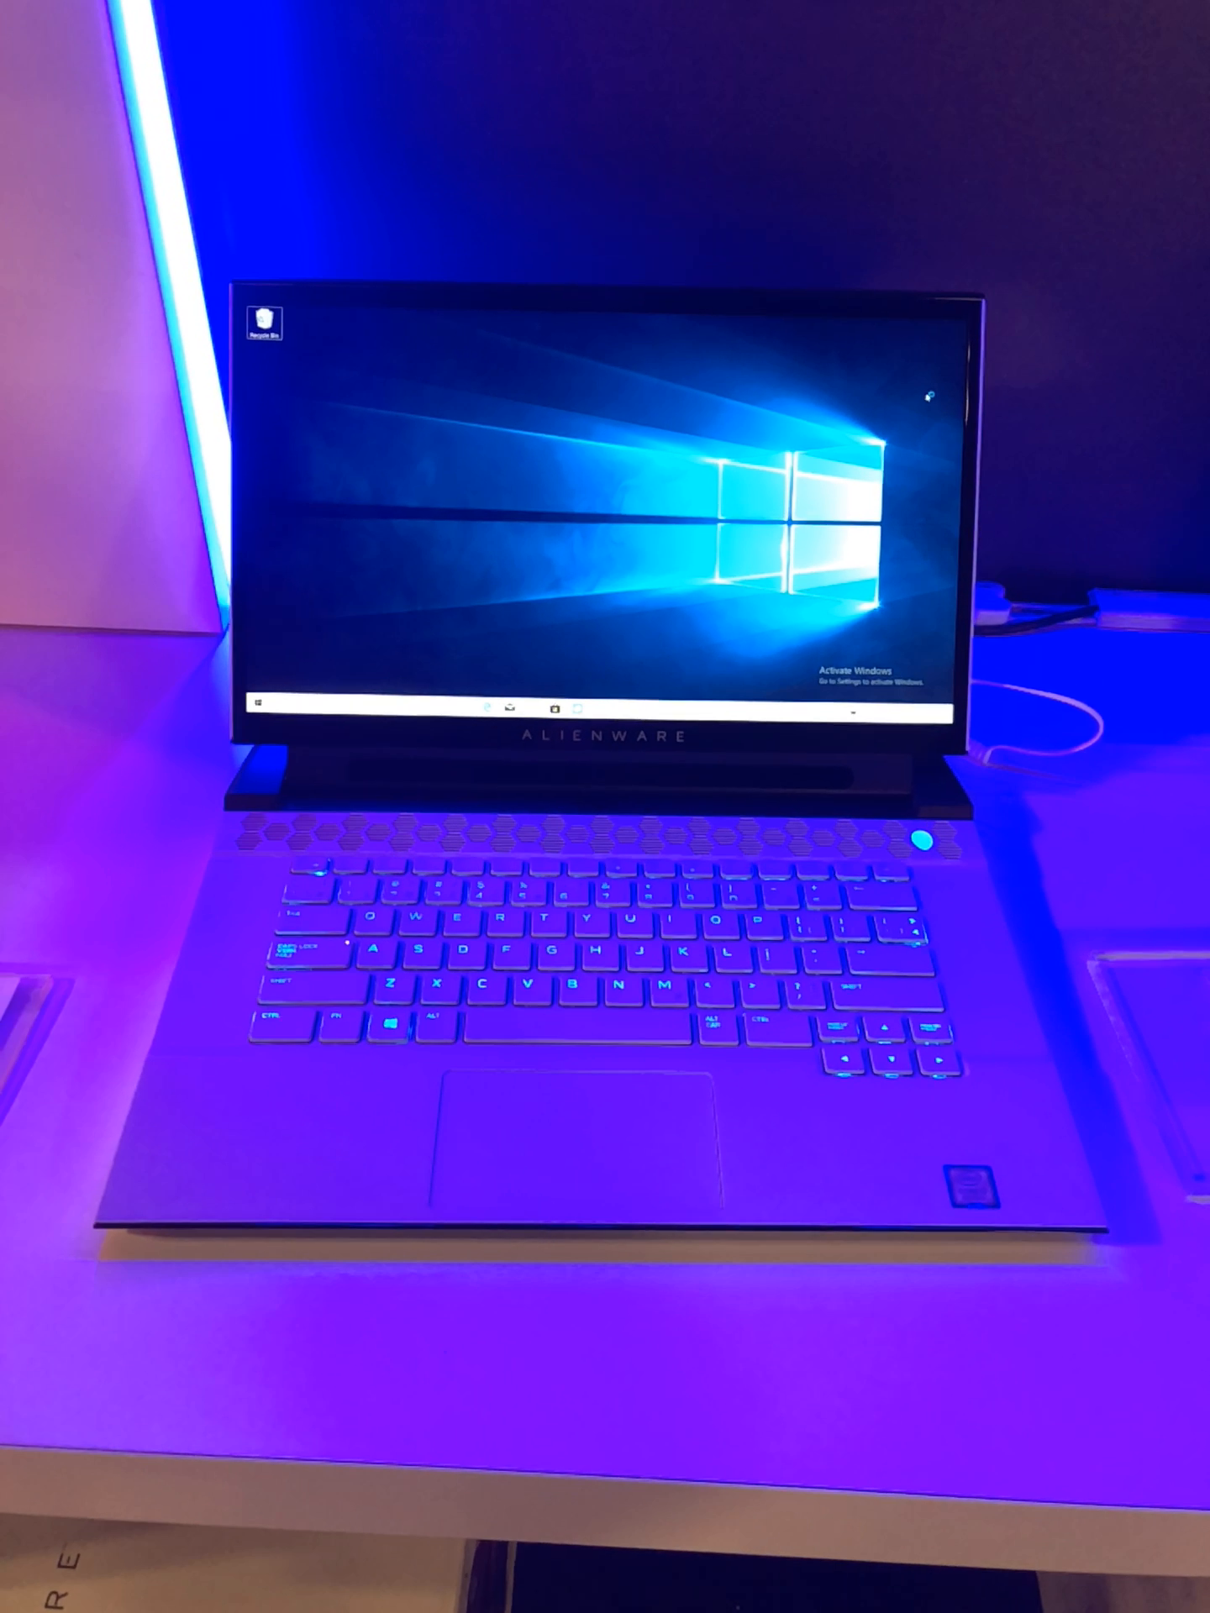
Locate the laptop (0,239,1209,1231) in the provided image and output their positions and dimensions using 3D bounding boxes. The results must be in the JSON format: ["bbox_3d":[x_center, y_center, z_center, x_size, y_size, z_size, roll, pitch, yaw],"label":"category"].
[{"bbox_3d":[-0.001,-0.058,0.554,0.356,0.194,0.381,1,42,-1],"label":"laptop"}]
